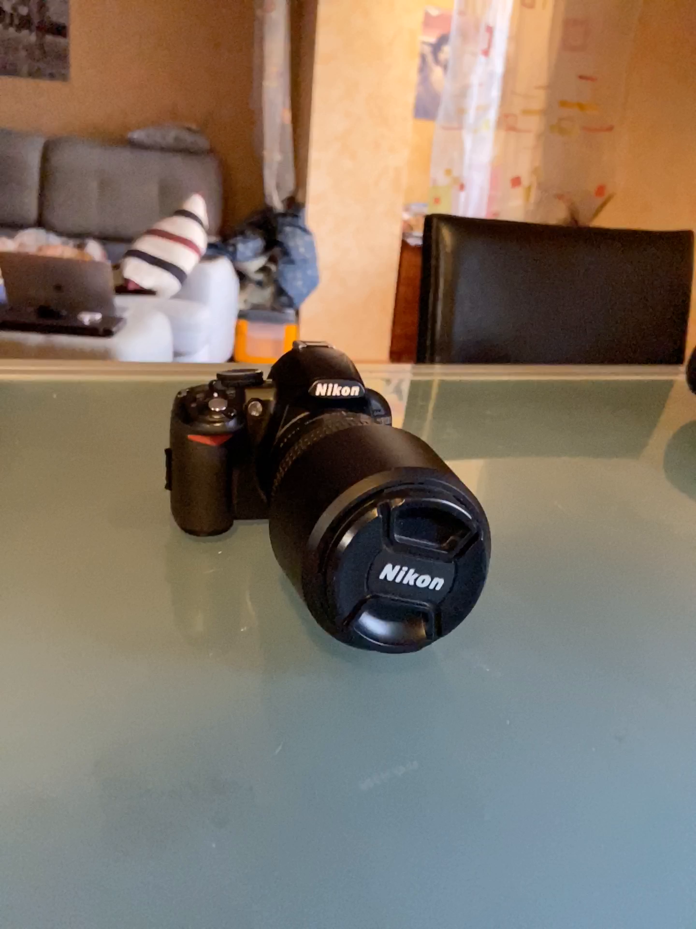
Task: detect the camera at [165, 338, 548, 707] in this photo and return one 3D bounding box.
[{"bbox_3d":[-0.017,0.007,0.343,0.124,0.094,0.189,-2,21,-18],"label":"camera"}]
